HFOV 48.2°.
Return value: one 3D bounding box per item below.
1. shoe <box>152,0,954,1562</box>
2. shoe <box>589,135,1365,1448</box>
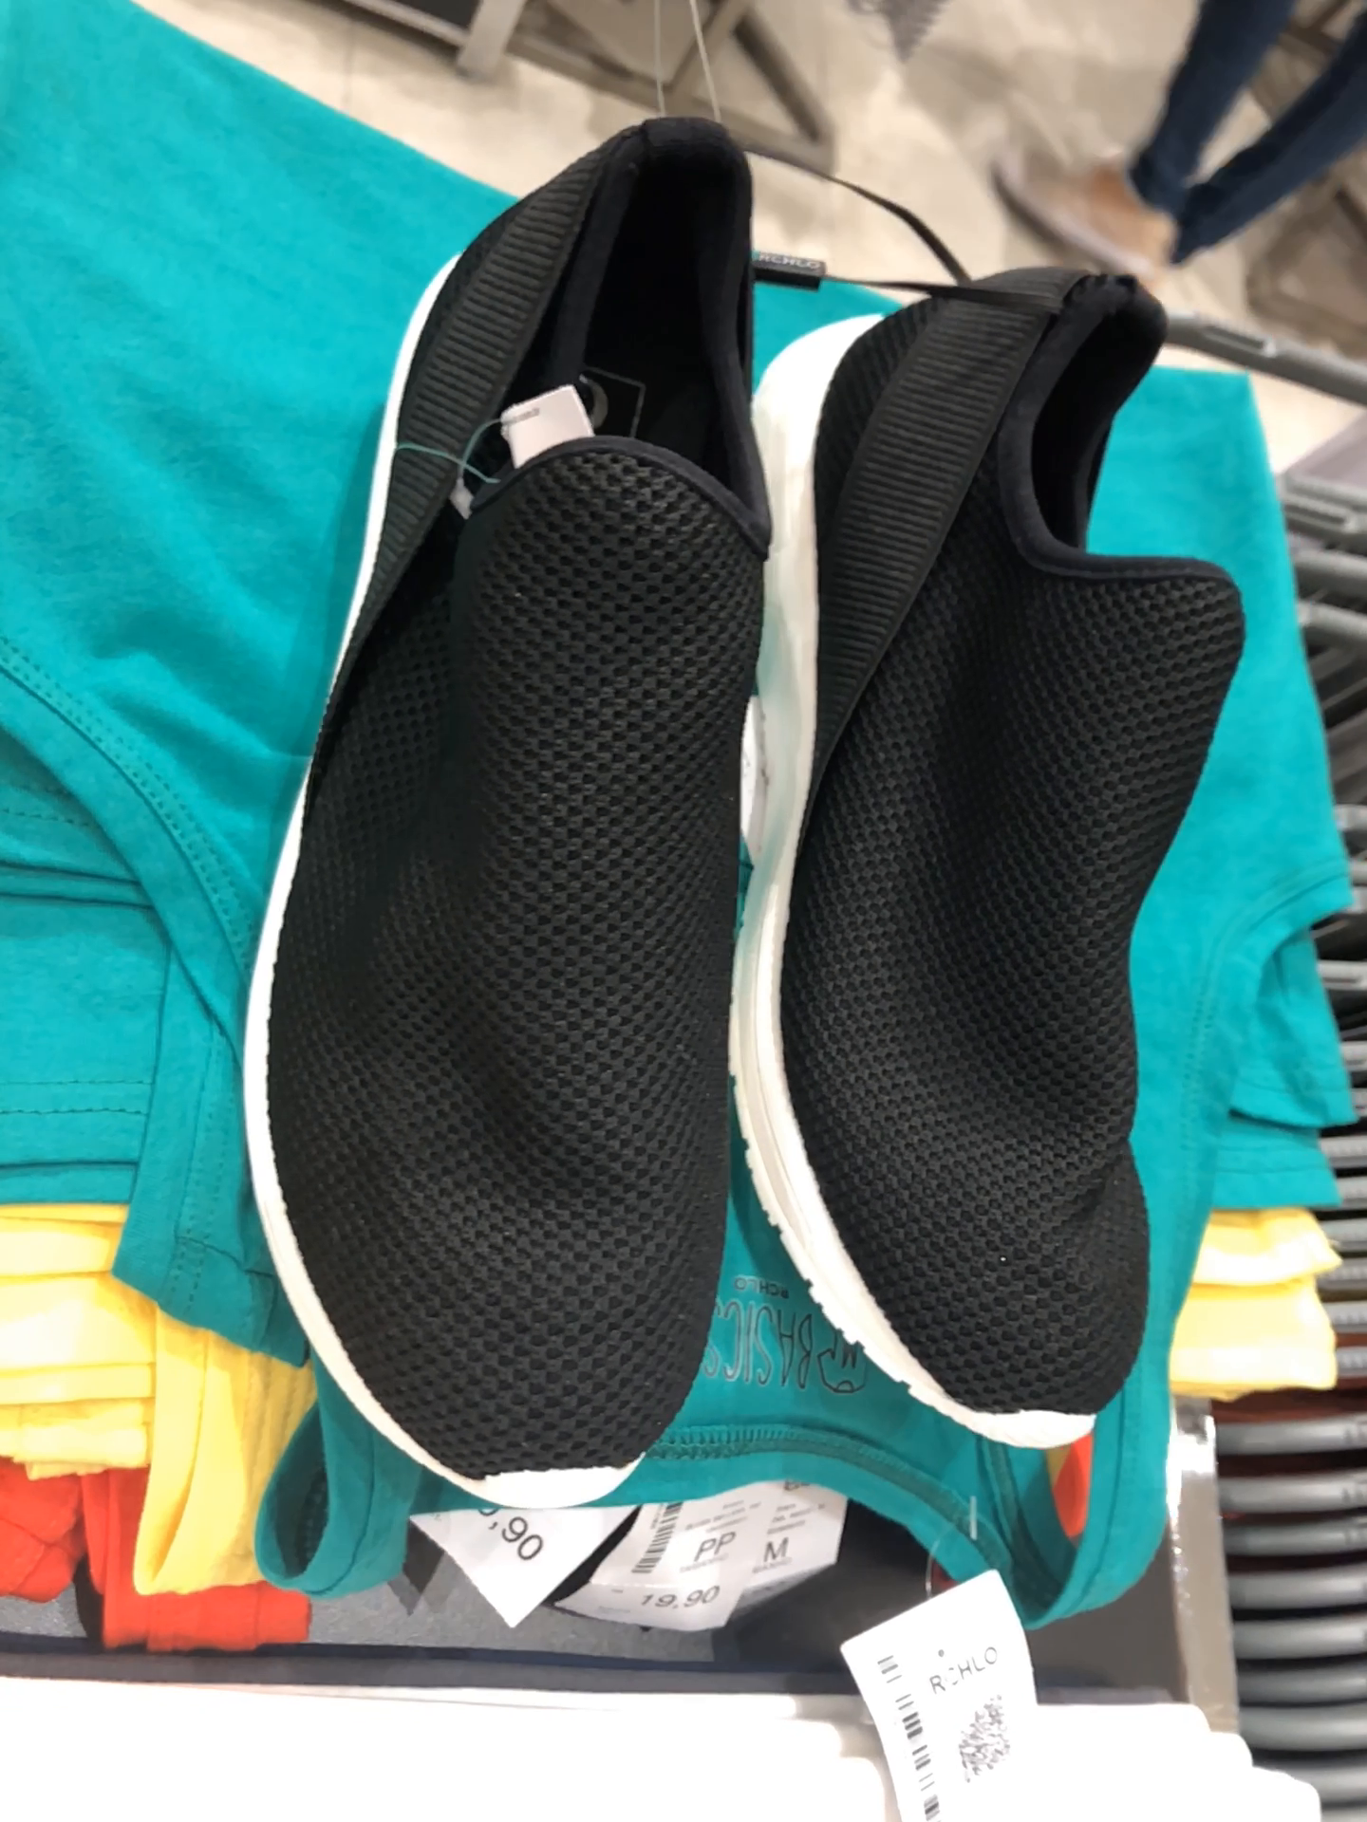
[{"bbox_3d":[-0.029,-0.030,0.282,0.090,0.119,0.260,8,72,-25],"label":"shoe"},{"bbox_3d":[0.045,-0.014,0.327,0.090,0.119,0.240,8,68,-25],"label":"shoe"}]
